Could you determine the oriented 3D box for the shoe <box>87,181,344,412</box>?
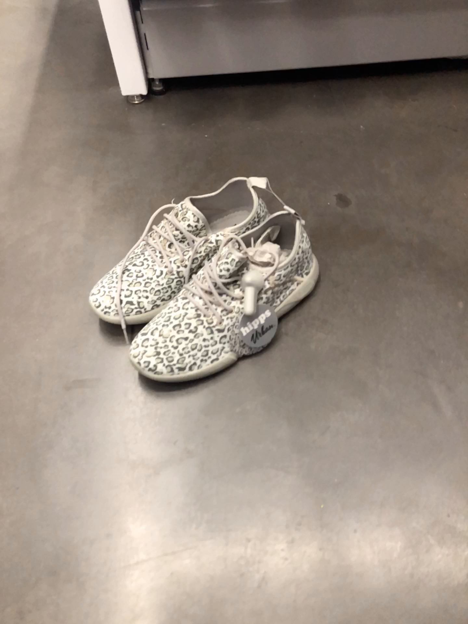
[{"bbox_3d":[-0.012,-0.023,0.554,0.251,0.100,0.100,-35,61,-19],"label":"shoe"}]

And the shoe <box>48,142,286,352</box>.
[{"bbox_3d":[-0.067,-0.082,0.602,0.251,0.100,0.100,-35,61,-19],"label":"shoe"}]
